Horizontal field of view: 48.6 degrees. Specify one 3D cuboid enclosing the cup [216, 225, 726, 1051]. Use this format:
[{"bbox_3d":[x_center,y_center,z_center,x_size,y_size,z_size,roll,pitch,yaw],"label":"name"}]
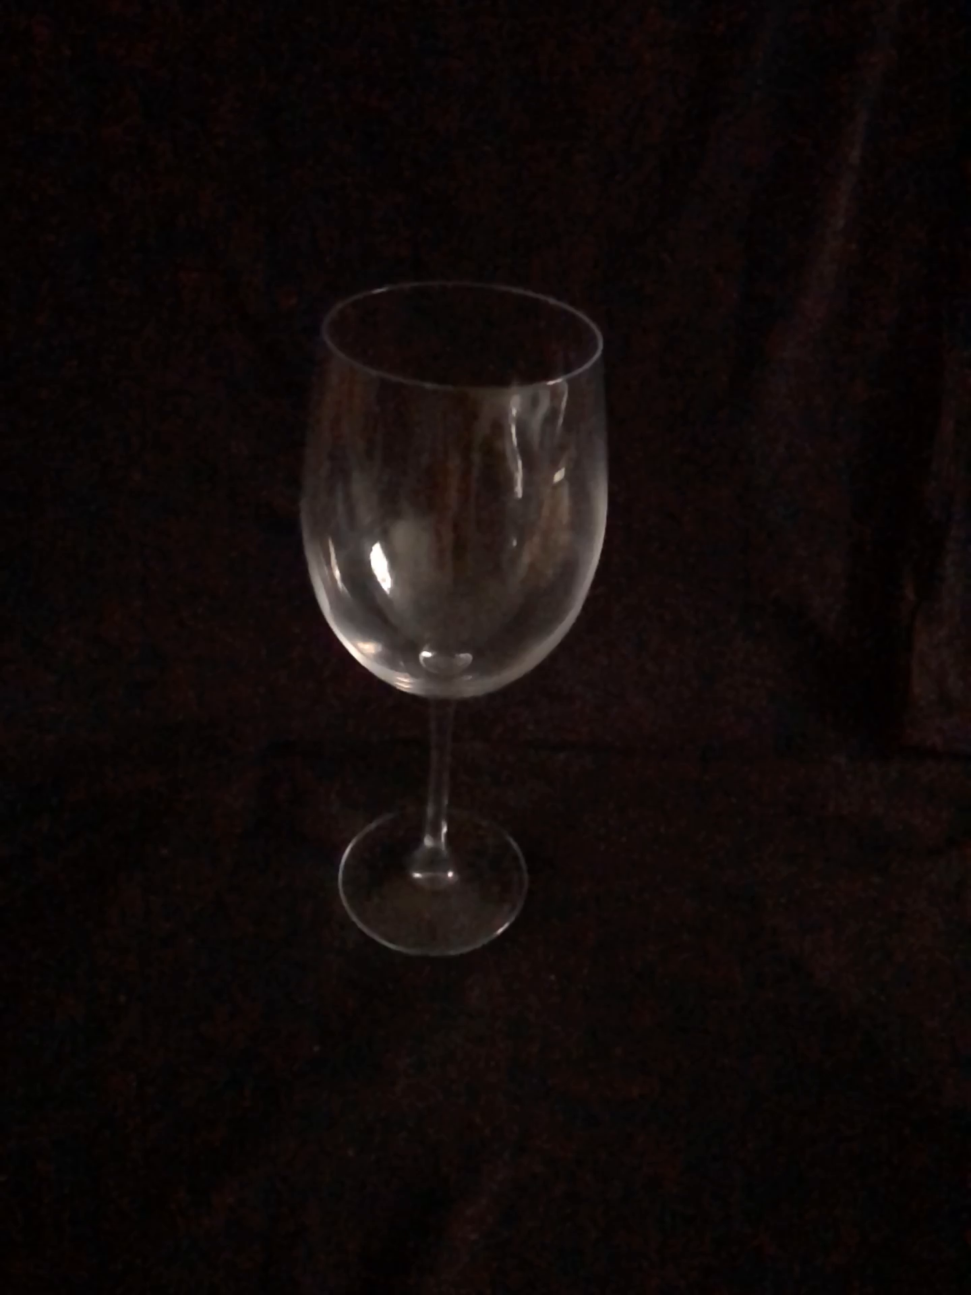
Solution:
[{"bbox_3d":[-0.008,0.008,0.387,0.100,0.266,0.103,1,40,-1],"label":"cup"}]
